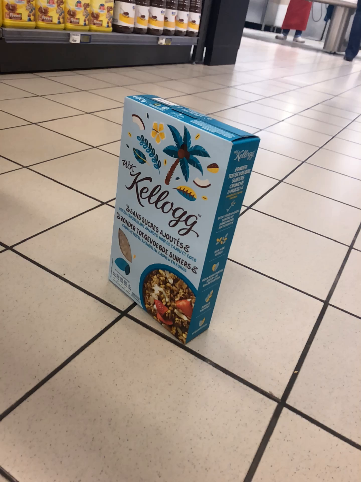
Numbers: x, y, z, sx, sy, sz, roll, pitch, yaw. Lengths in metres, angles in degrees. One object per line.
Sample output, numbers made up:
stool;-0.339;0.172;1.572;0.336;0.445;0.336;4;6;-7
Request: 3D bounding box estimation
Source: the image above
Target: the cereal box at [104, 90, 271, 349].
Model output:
cereal box;-0.011;-0.025;0.445;0.050;0.238;0.160;-20;42;-42
